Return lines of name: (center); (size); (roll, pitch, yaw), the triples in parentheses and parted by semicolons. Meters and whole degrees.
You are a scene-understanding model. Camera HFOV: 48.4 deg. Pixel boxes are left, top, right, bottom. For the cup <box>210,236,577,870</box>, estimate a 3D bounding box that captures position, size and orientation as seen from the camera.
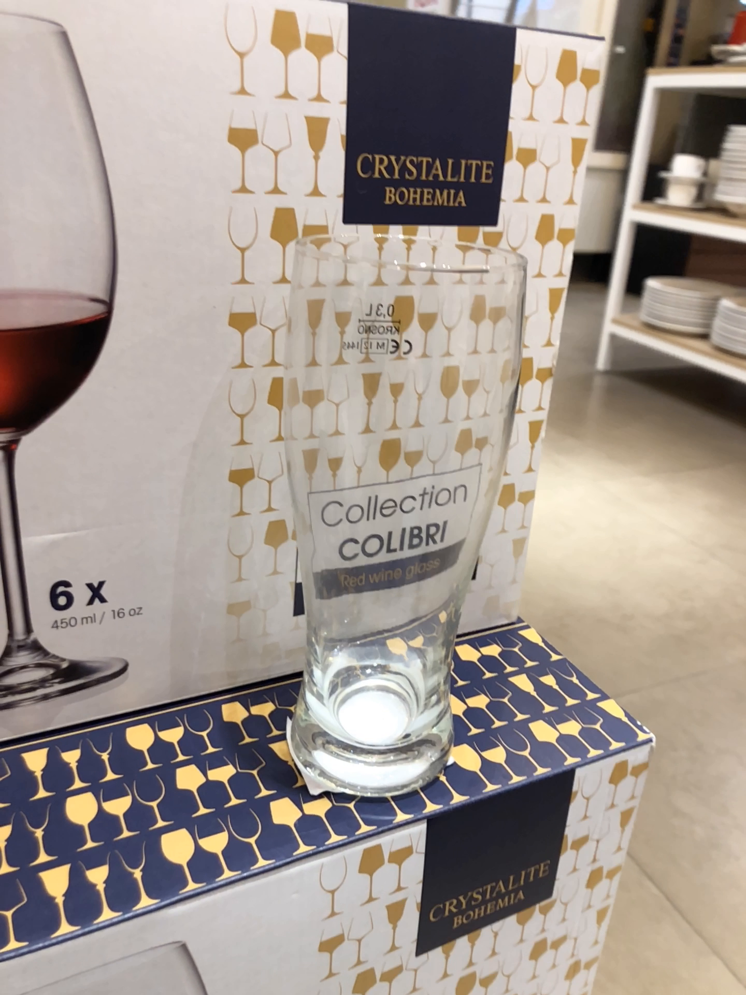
cup: (-0.004, 0.014, 0.271); (0.080, 0.179, 0.080); (4, 23, -2)
